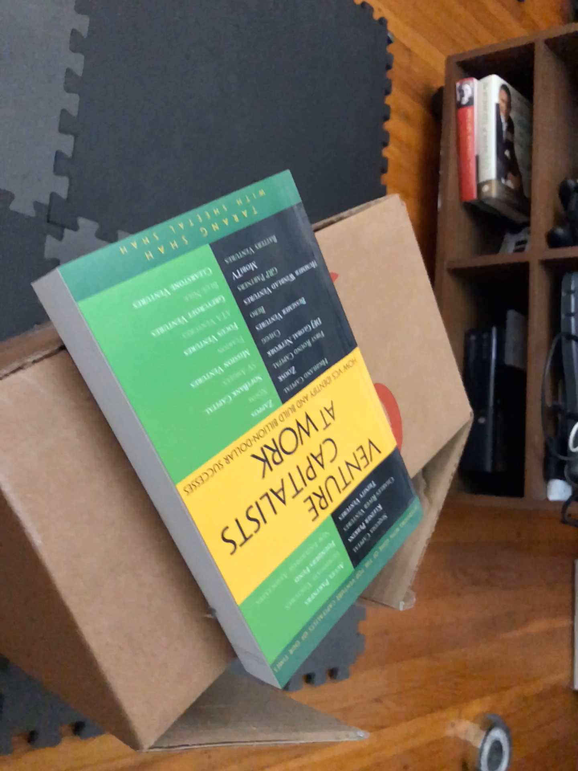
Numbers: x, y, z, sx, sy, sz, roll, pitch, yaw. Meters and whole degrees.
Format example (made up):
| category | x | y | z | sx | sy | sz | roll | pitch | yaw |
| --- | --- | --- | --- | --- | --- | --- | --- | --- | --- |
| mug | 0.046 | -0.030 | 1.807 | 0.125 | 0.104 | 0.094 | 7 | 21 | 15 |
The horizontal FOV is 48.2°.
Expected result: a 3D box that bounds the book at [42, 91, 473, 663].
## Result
| category | x | y | z | sx | sy | sz | roll | pitch | yaw |
| --- | --- | --- | --- | --- | --- | --- | --- | --- | --- |
| book | 0.006 | -0.010 | 0.356 | 0.161 | 0.040 | 0.260 | -37 | 110 | -39 |
